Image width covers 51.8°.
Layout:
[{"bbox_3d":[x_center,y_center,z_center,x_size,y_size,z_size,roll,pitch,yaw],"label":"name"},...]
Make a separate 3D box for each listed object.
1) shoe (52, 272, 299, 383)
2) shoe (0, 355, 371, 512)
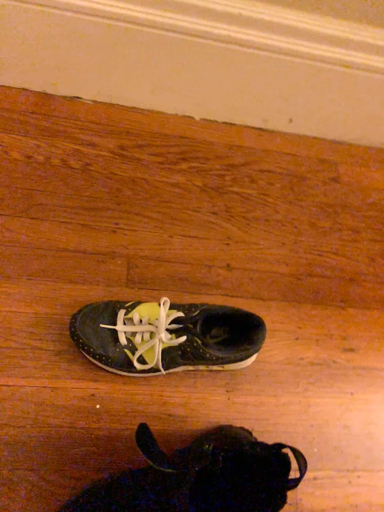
[{"bbox_3d":[-0.023,0.097,0.527,0.290,0.100,0.120,1,68,-12],"label":"shoe"},{"bbox_3d":[-0.031,0.262,0.443,0.310,0.240,0.160,-18,74,-19],"label":"shoe"}]
